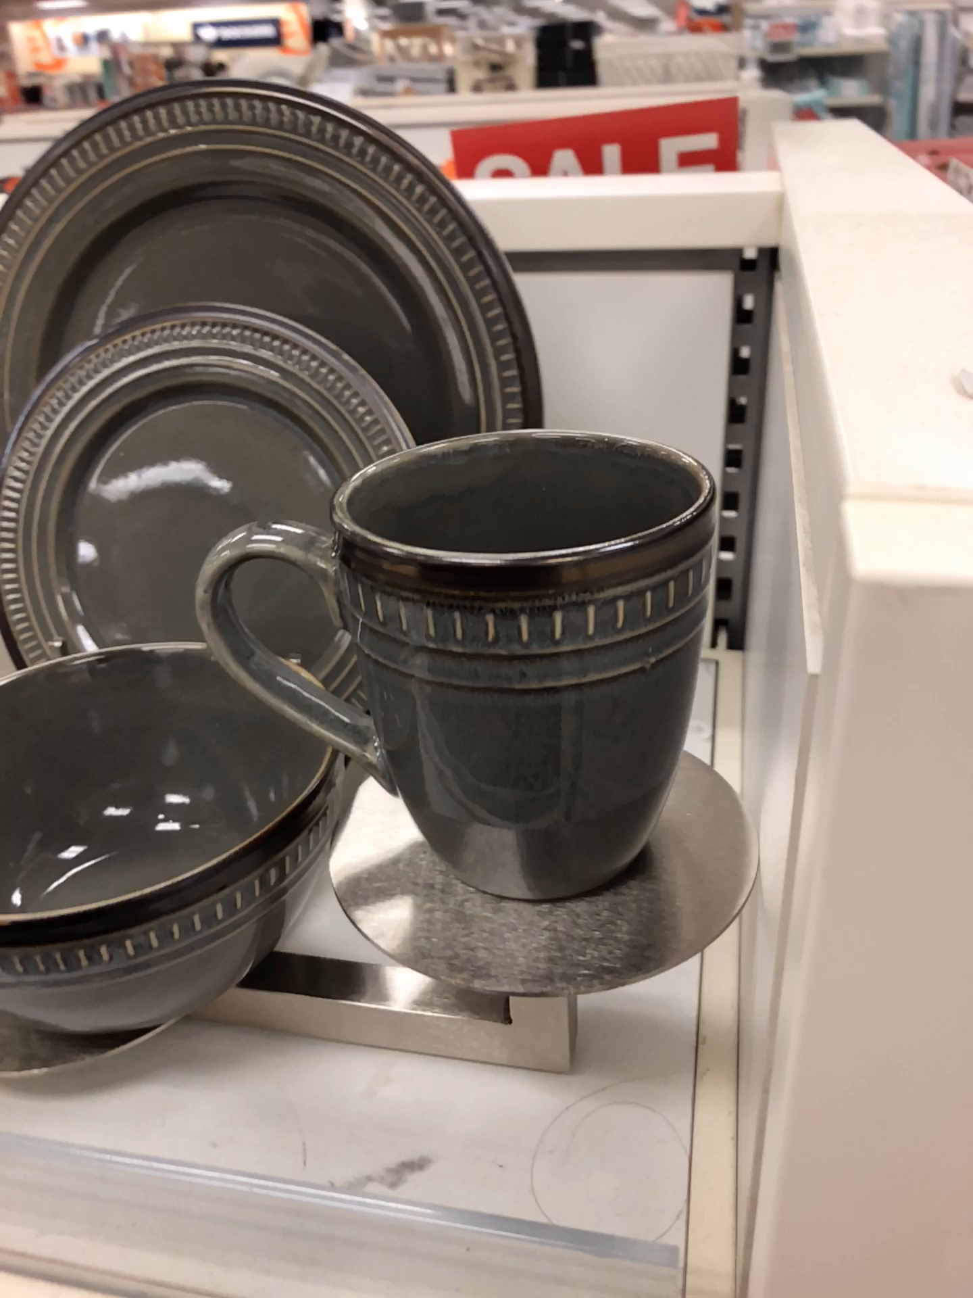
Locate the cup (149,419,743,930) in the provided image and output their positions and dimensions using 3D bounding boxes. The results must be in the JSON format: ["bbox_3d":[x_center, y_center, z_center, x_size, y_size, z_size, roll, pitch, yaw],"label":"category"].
[{"bbox_3d":[-0.005,0.004,0.294,0.126,0.106,0.089,-1,28,3],"label":"cup"}]
